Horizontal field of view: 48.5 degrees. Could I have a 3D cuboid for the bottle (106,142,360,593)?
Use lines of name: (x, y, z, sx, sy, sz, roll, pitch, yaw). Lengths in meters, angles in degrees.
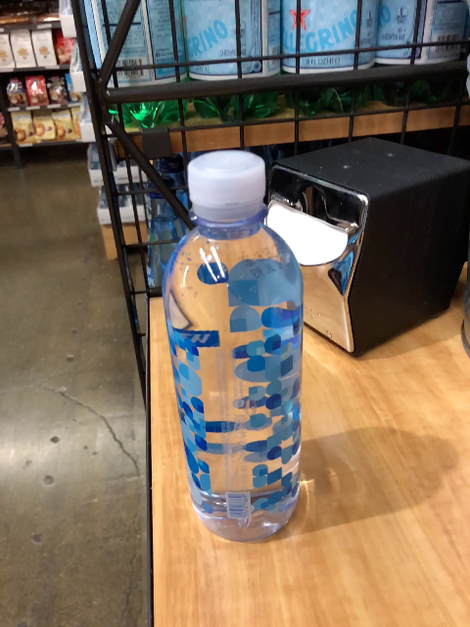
bottle: (0.005, 0.031, 0.252, 0.070, 0.199, 0.070, -2, 32, 1)
